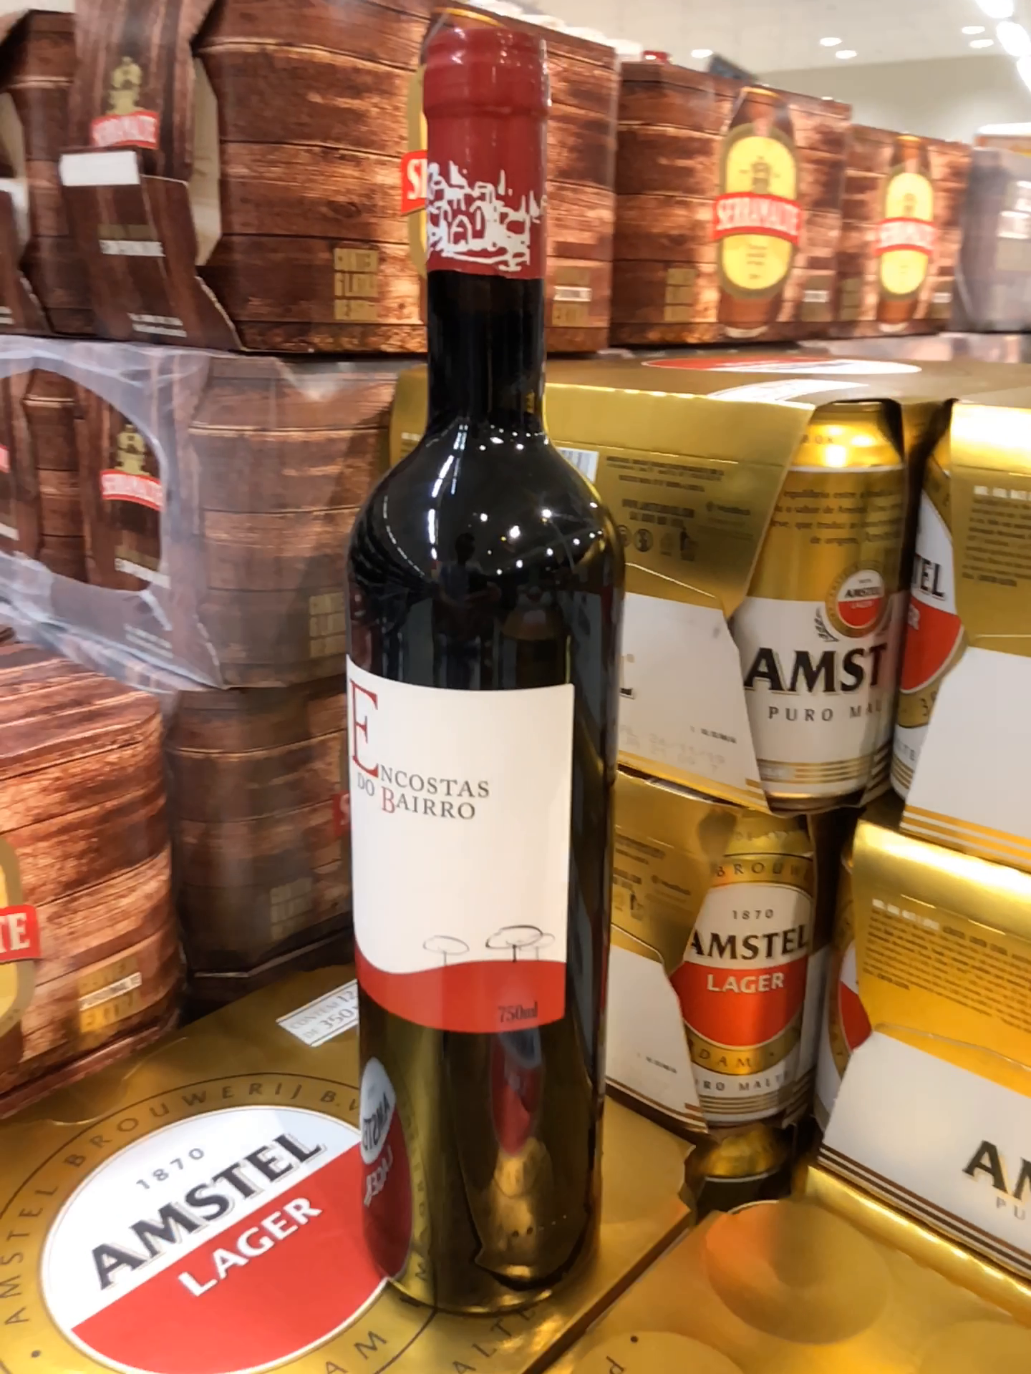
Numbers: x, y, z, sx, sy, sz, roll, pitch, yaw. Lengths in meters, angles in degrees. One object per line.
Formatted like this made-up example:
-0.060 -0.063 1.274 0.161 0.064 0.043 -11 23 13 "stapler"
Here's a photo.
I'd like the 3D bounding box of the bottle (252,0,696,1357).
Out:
-0.009 0.007 0.293 0.070 0.318 0.070 1 17 0 "bottle"
